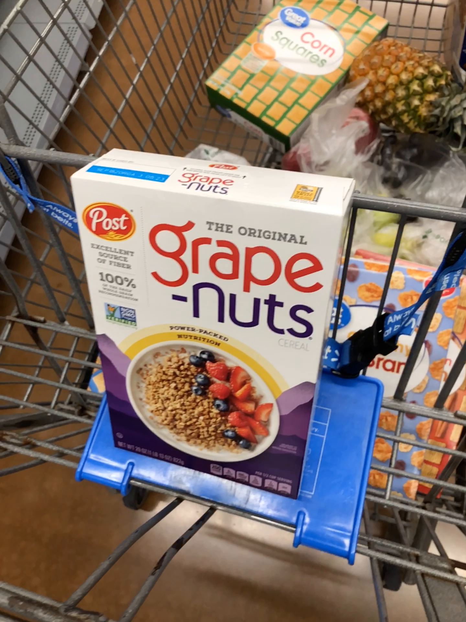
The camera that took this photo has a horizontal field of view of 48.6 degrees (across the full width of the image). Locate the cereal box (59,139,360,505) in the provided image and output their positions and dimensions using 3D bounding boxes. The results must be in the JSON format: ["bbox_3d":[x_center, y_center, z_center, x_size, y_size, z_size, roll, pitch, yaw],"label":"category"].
[{"bbox_3d":[-0.018,0.019,0.374,0.170,0.250,0.050,12,35,13],"label":"cereal box"}]
